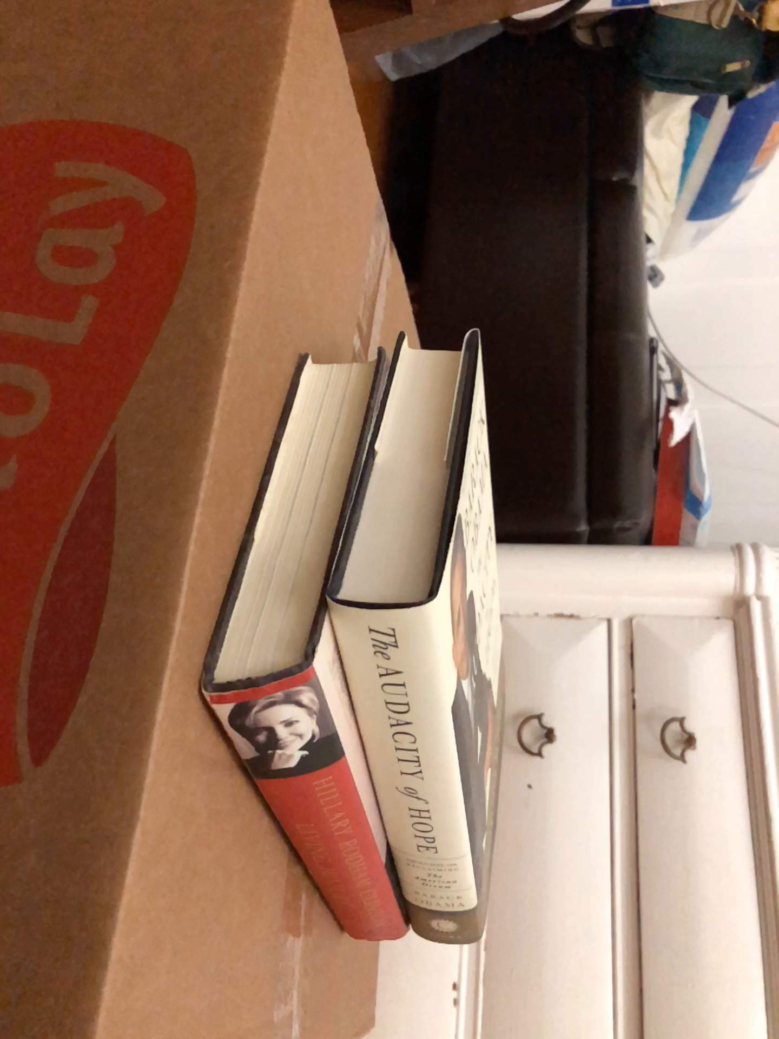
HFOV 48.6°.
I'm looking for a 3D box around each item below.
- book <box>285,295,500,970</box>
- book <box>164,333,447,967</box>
[{"bbox_3d":[0.020,0.057,0.398,0.190,0.040,0.250,-78,164,-46],"label":"book"},{"bbox_3d":[-0.014,0.072,0.386,0.250,0.040,0.170,77,17,-48],"label":"book"}]
